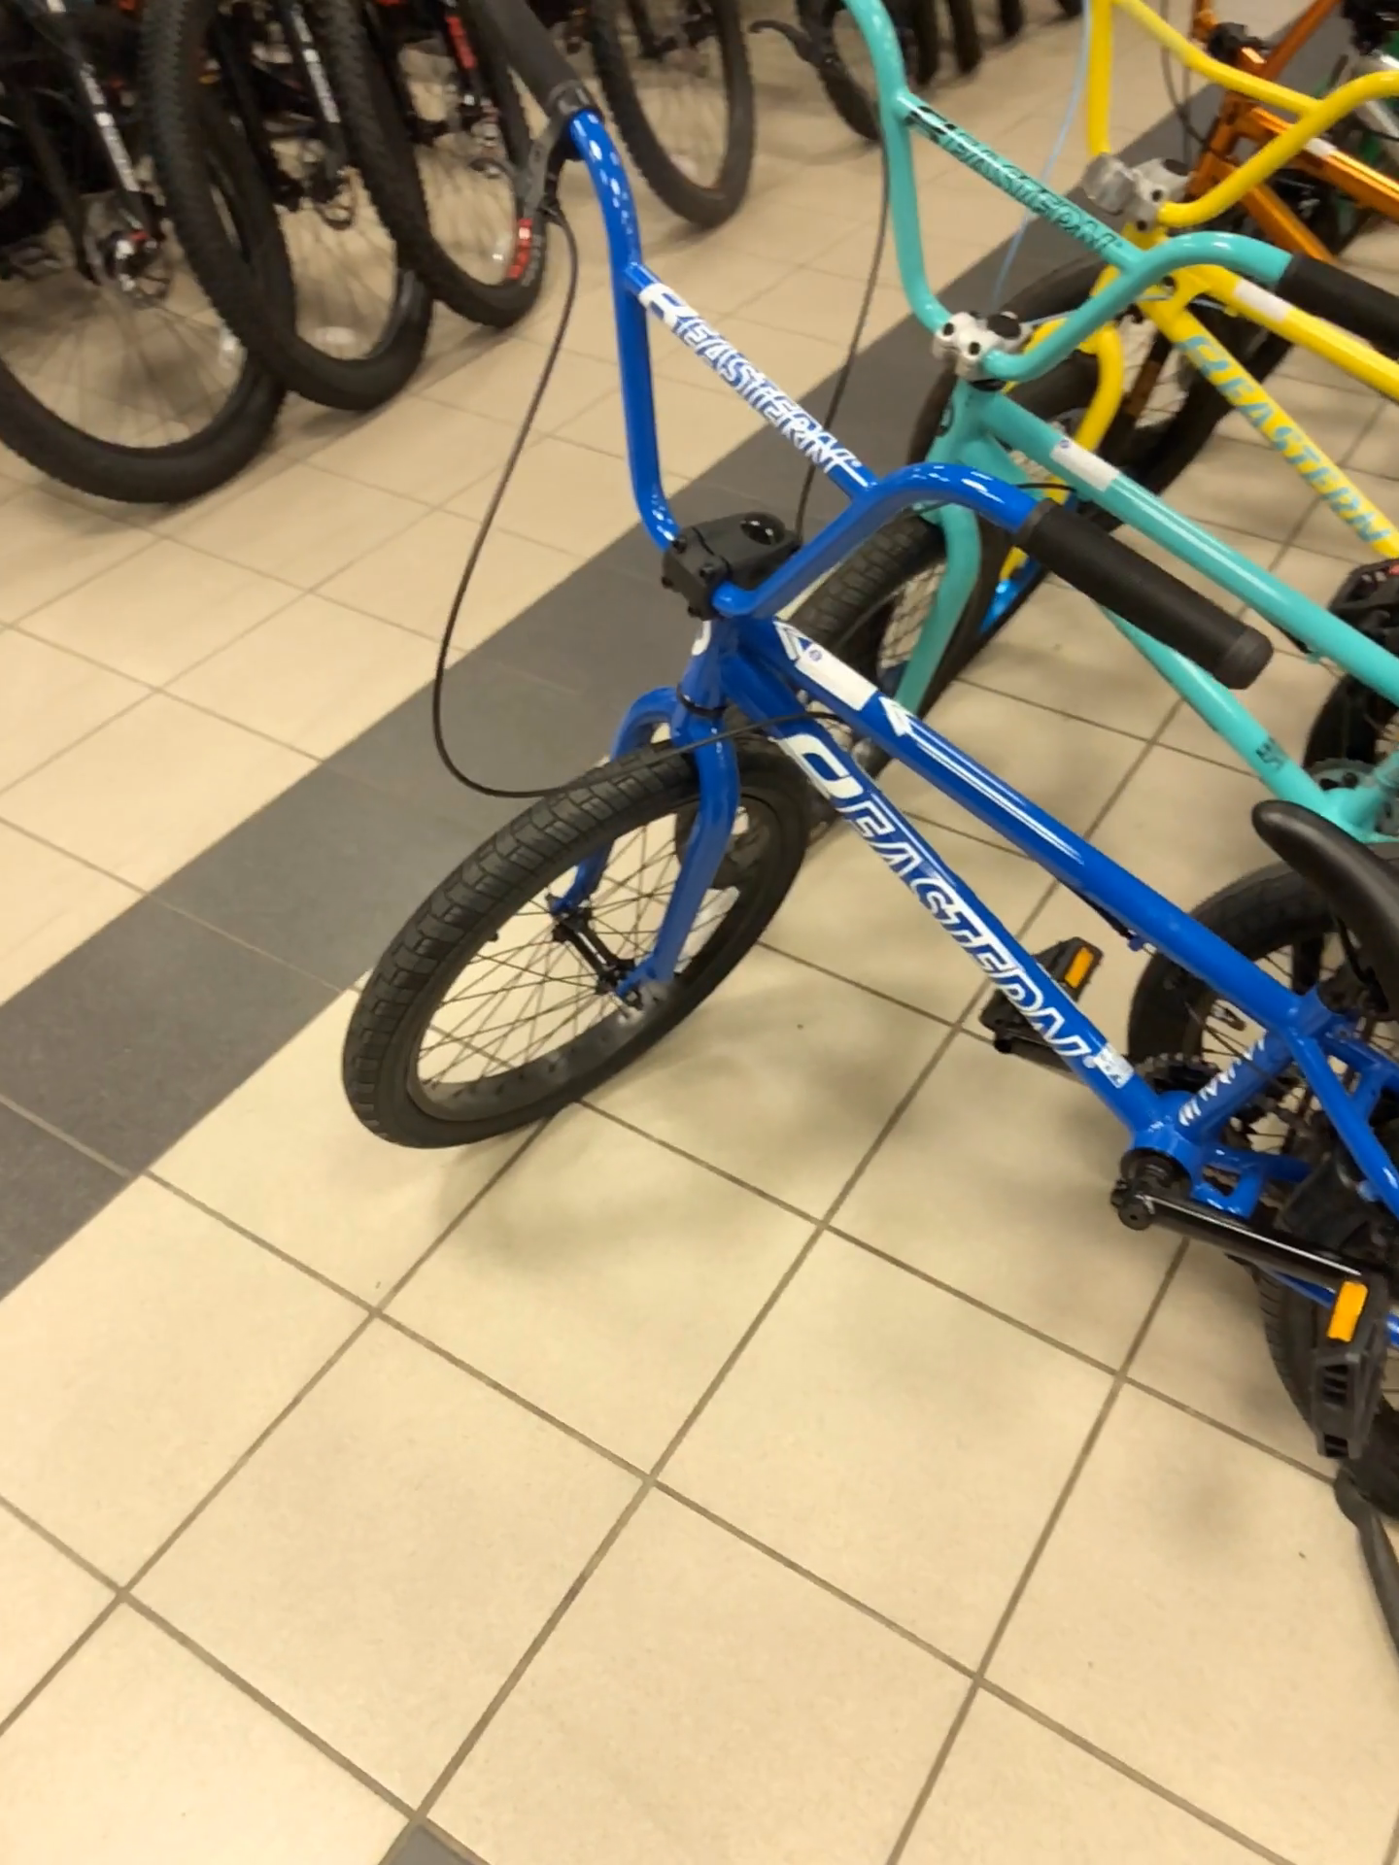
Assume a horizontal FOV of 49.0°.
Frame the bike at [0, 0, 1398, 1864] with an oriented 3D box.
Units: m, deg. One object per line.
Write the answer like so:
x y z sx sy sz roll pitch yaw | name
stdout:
0.312 0.064 1.008 1.257 0.961 0.825 17 46 17 | bike
